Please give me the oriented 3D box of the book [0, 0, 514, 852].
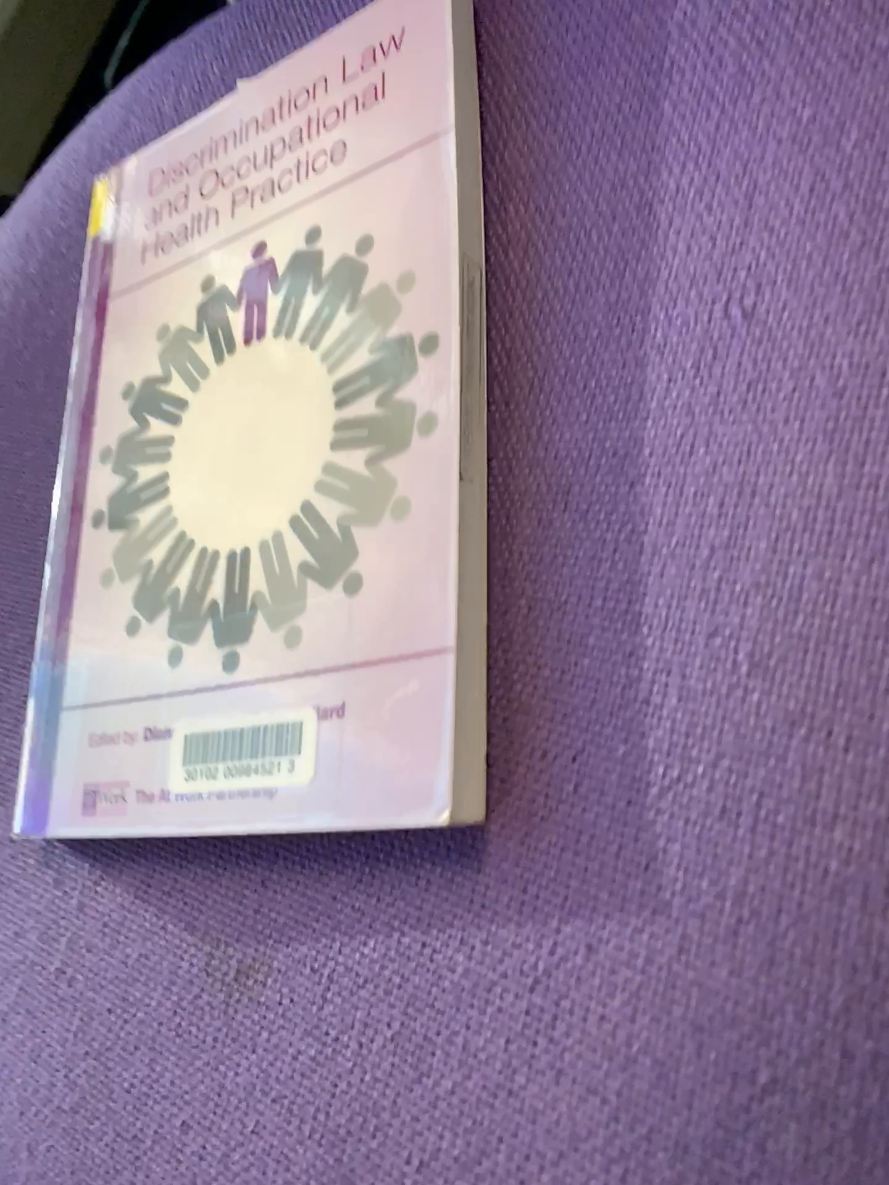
[{"bbox_3d":[-0.057,-0.049,0.265,0.158,0.022,0.236,-11,69,32],"label":"book"}]
